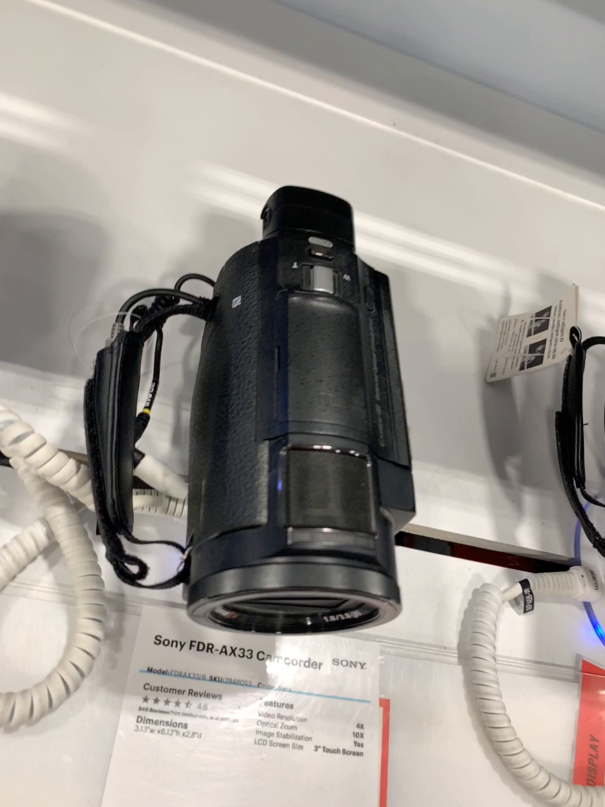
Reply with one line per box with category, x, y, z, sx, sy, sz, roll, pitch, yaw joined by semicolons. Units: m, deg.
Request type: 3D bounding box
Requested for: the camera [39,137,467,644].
camera;-0.017;-0.001;0.206;0.102;0.067;0.136;10;59;-16
